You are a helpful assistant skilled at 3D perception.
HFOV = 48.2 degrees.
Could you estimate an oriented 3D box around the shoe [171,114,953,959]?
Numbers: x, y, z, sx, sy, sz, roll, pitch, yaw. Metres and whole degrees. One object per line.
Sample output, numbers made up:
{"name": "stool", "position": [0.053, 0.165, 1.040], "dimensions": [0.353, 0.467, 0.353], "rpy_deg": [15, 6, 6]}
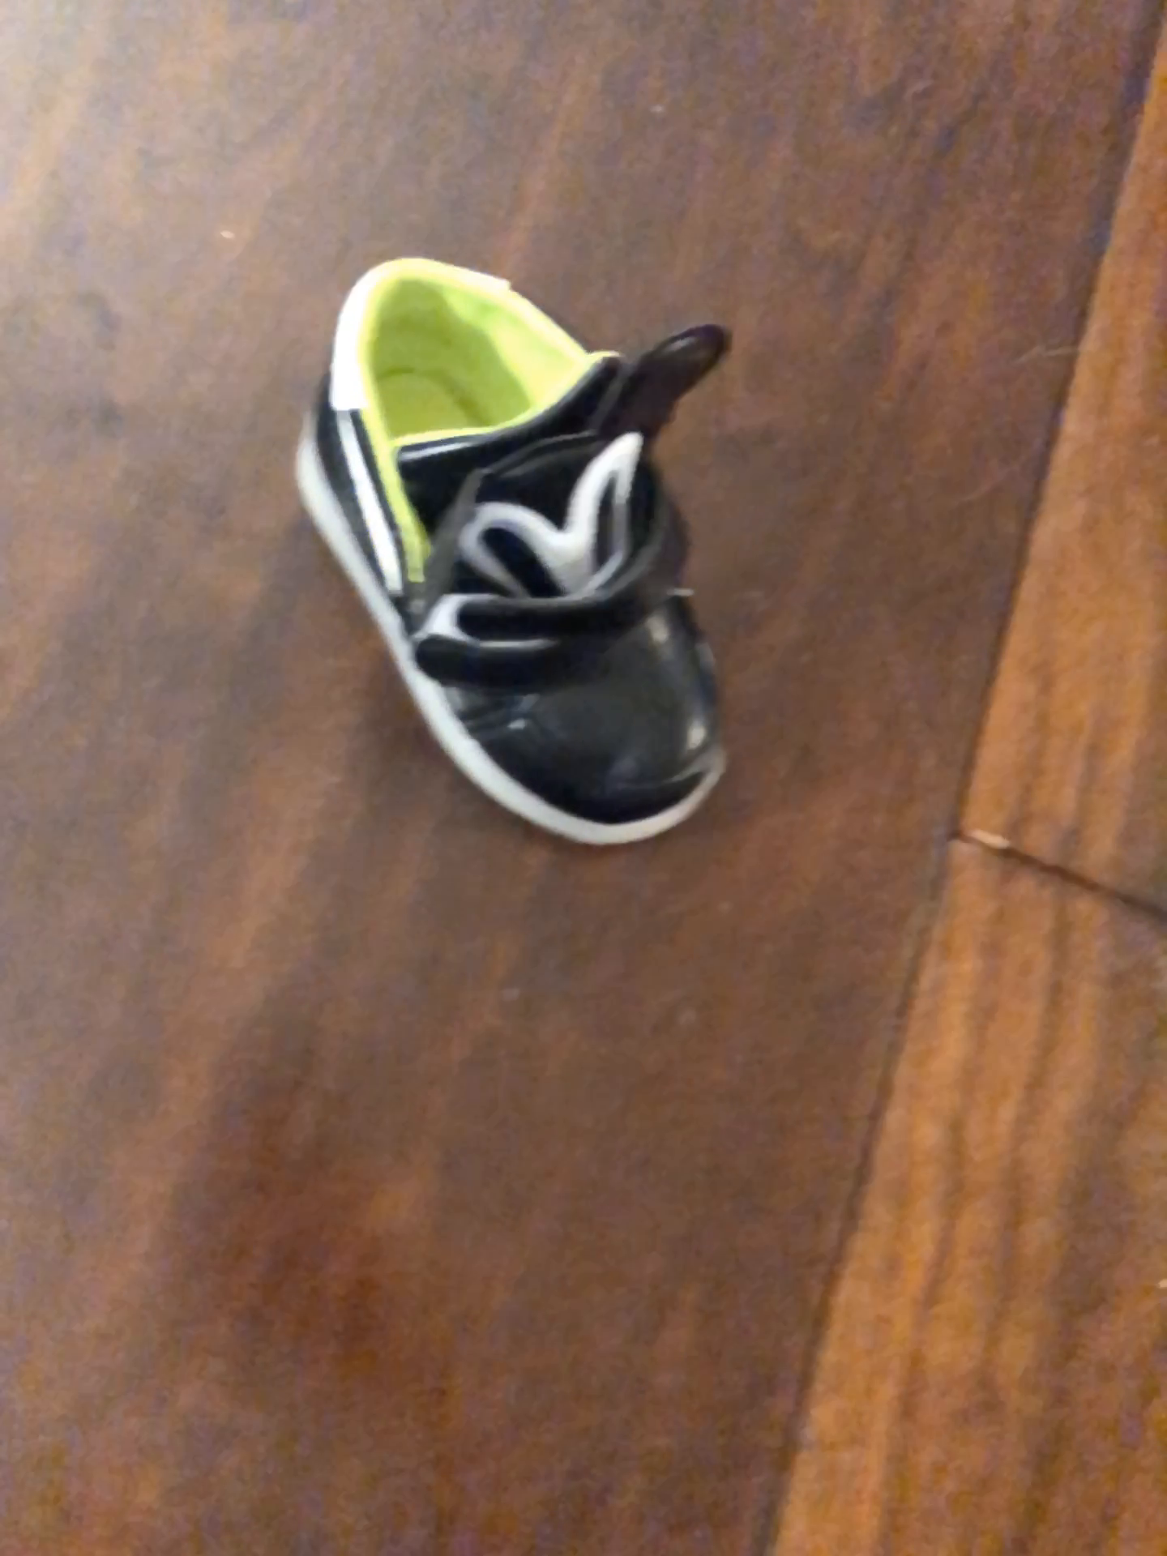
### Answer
{"name": "shoe", "position": [-0.012, -0.048, 0.314], "dimensions": [0.090, 0.100, 0.150], "rpy_deg": [-36, 87, -17]}
